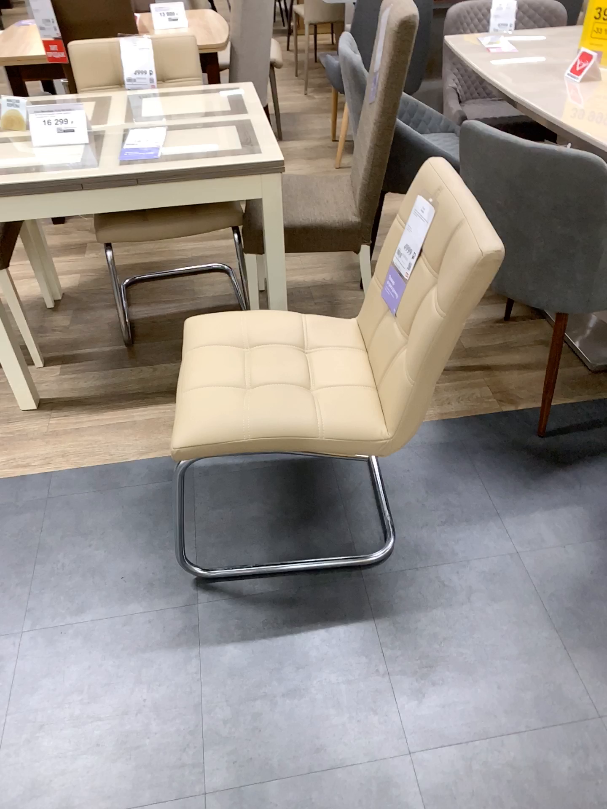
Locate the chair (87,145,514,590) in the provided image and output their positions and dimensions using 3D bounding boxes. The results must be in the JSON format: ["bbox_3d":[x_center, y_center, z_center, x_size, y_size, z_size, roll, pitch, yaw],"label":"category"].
[{"bbox_3d":[-0.008,-0.066,1.407,0.650,0.815,0.533,-3,40,-2],"label":"chair"}]
